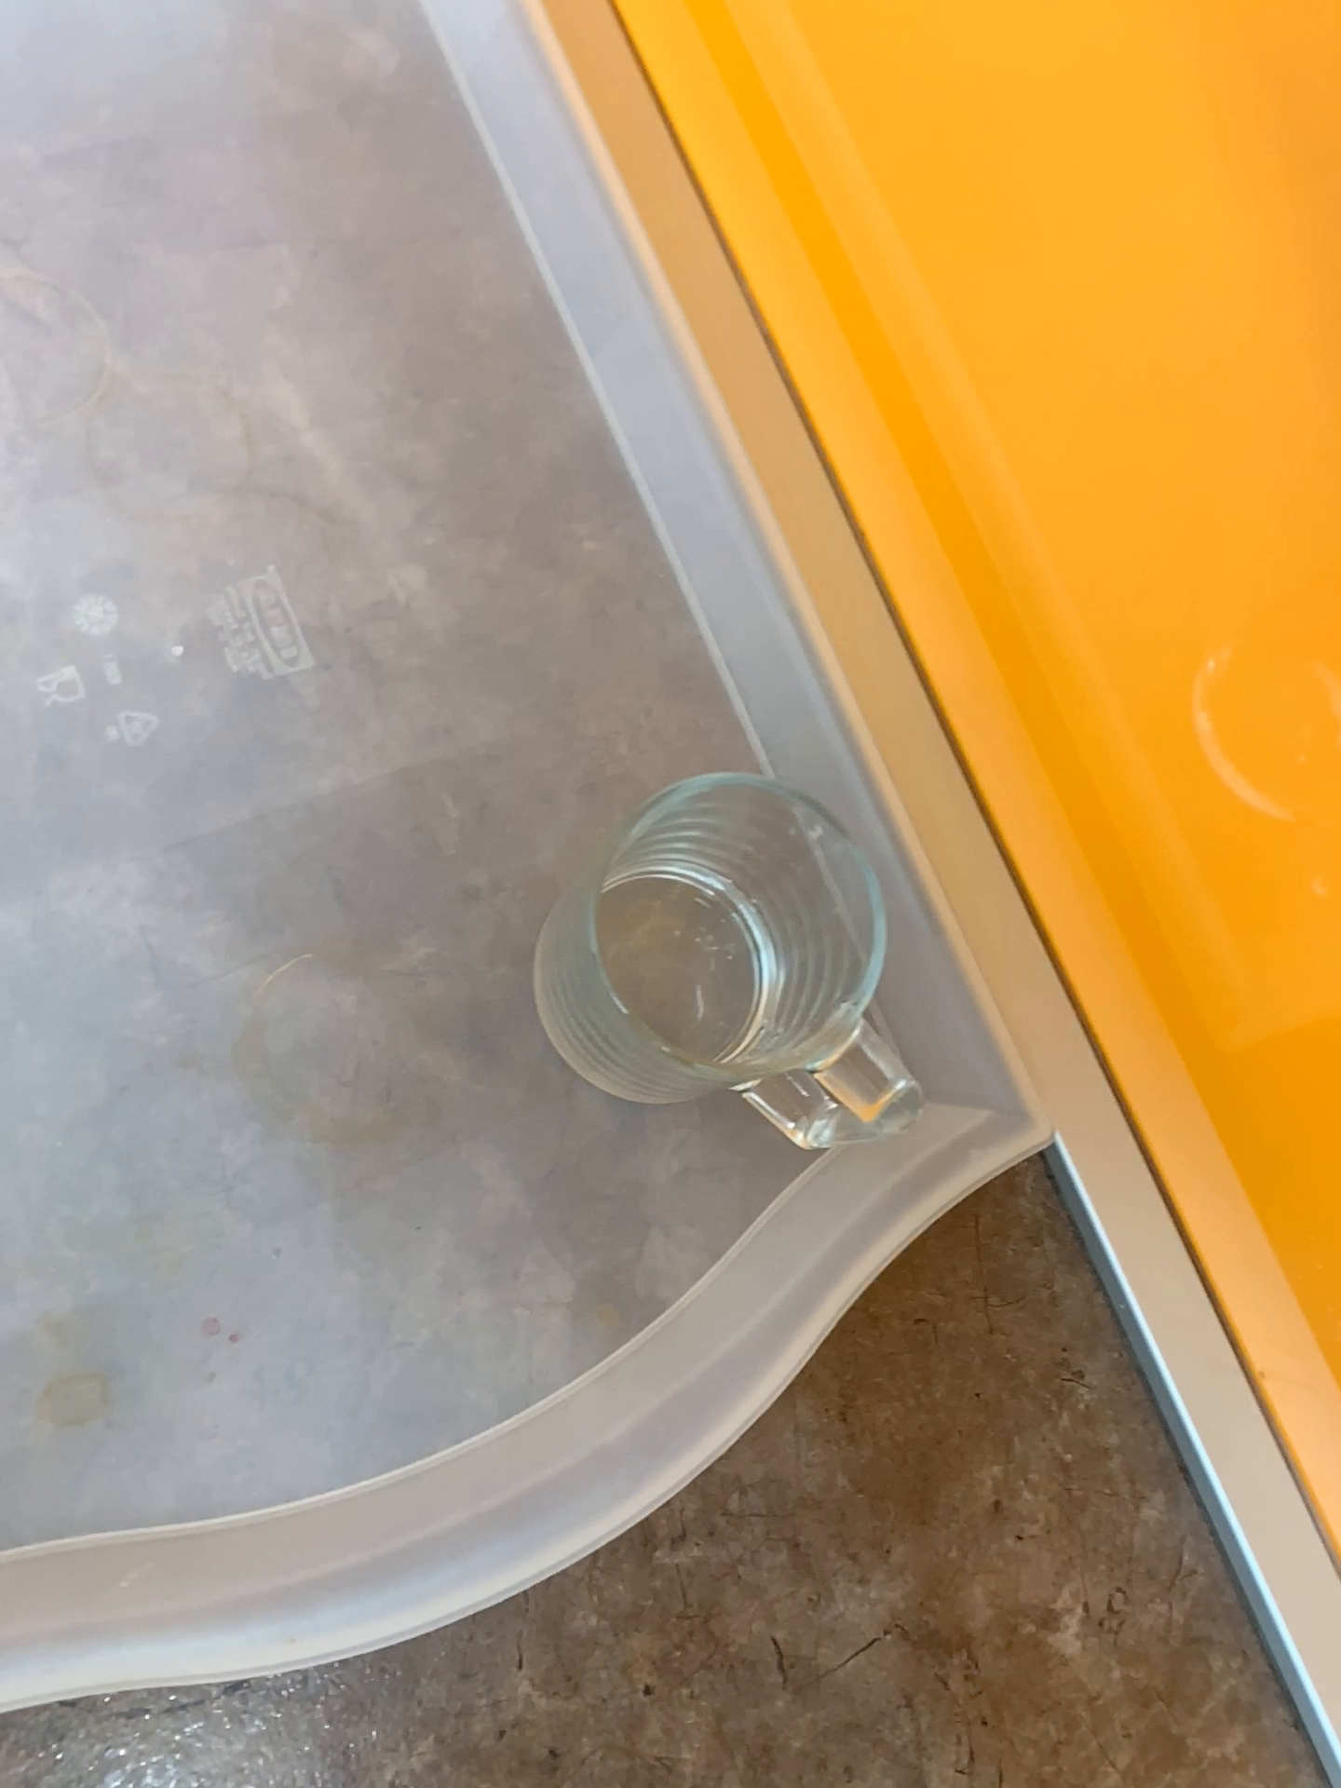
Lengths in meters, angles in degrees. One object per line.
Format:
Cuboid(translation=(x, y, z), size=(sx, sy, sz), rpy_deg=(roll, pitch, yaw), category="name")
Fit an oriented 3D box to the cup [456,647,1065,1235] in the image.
Cuboid(translation=(0.016, 0.018, 0.362), size=(0.081, 0.104, 0.108), rpy_deg=(-43, 92, -18), category="cup")
